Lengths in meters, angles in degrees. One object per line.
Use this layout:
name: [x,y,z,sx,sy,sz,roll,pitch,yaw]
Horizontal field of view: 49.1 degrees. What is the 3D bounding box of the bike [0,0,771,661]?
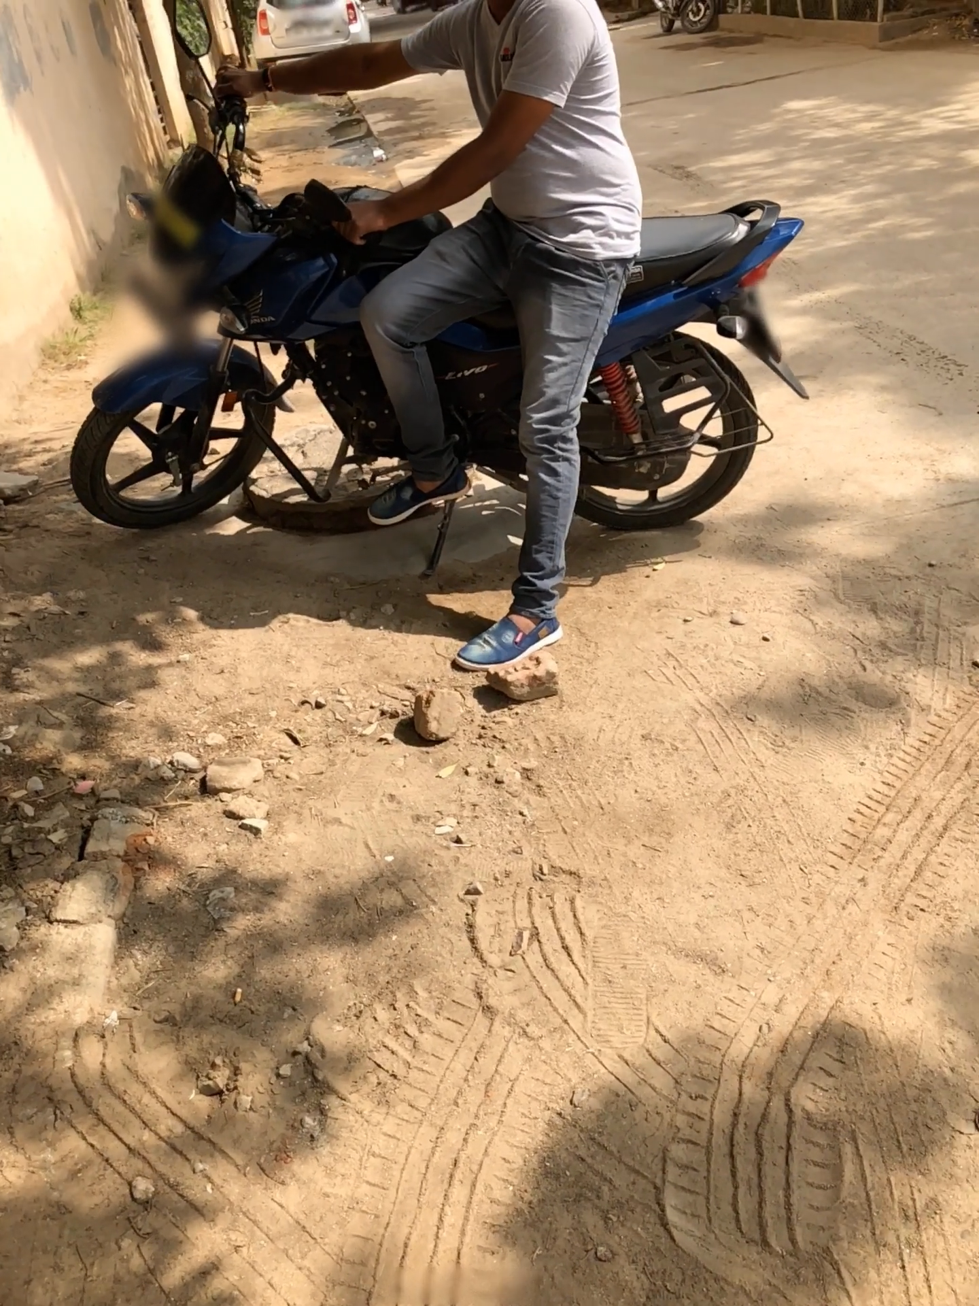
bike: [-0.276,-0.753,2.590,1.782,1.242,0.744,-4,33,5]
